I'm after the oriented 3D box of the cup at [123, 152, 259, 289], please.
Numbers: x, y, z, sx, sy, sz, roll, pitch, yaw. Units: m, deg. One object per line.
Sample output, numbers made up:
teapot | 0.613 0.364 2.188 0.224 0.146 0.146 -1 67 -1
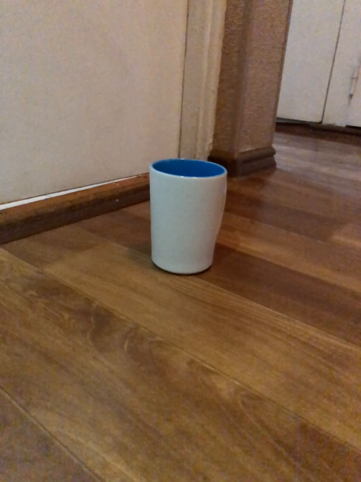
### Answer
cup | 0.012 -0.033 0.463 0.088 0.112 0.130 22 29 36
